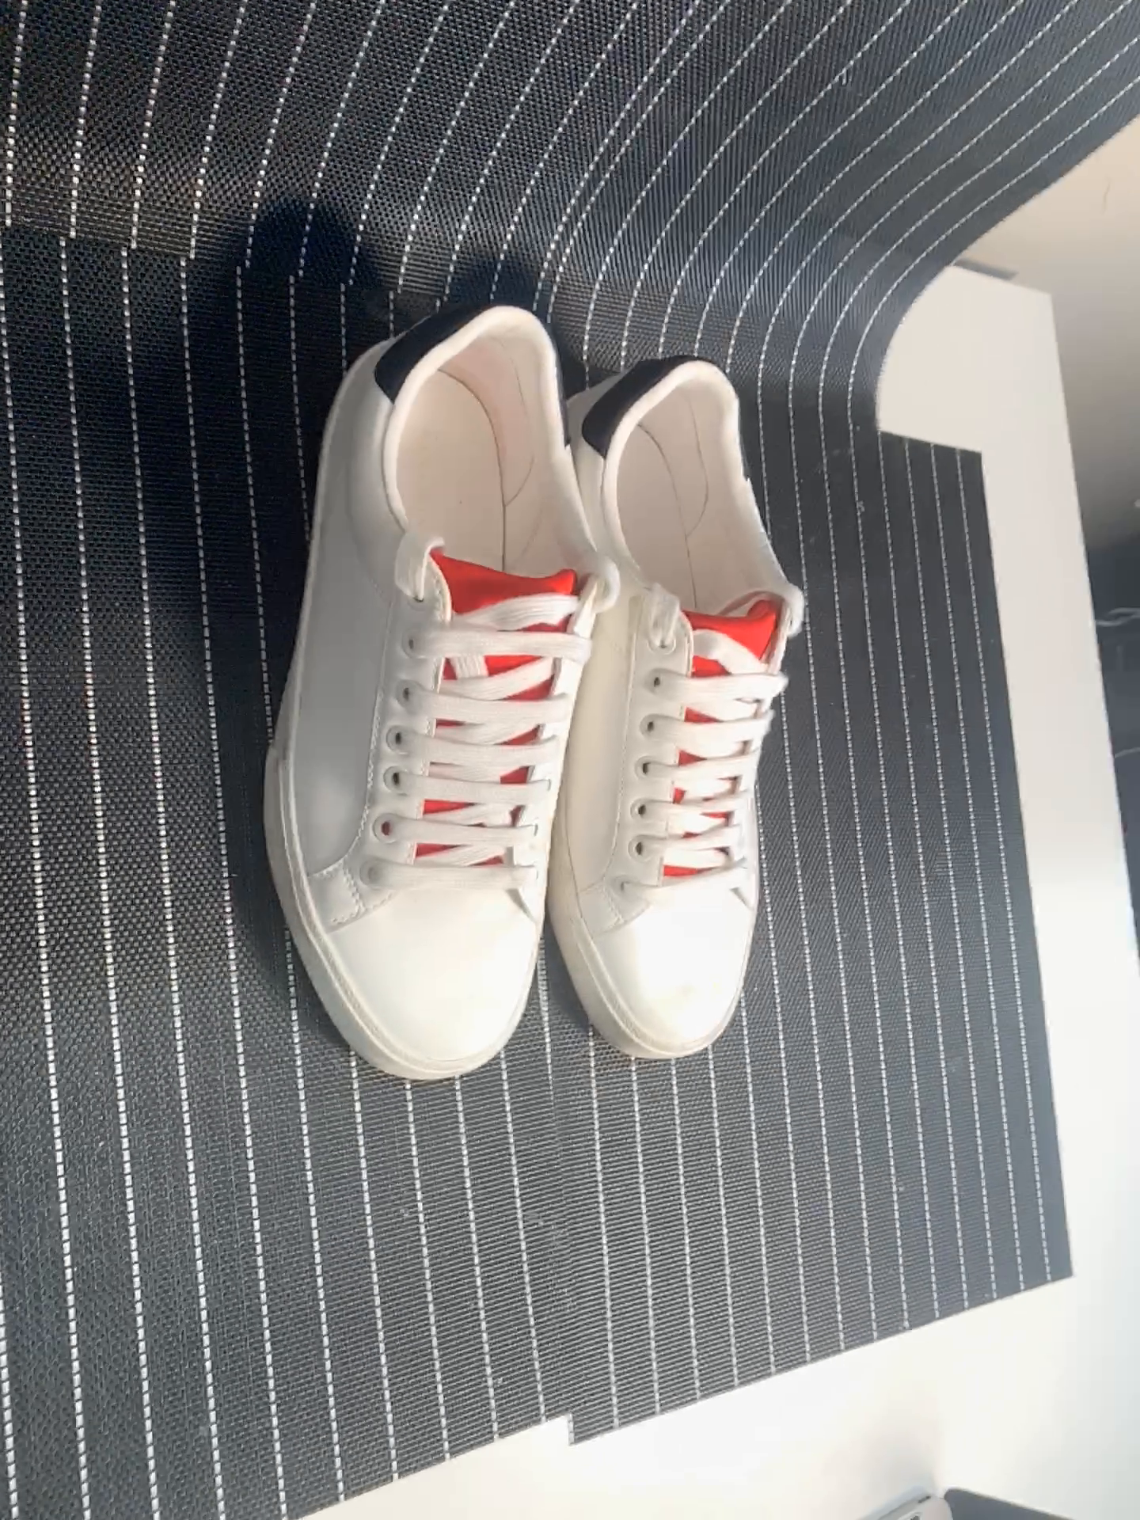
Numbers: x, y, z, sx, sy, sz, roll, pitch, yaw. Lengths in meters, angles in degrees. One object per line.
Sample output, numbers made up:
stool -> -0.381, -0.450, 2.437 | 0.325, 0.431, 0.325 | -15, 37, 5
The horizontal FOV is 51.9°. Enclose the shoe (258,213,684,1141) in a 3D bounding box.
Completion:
shoe -> -0.039, -0.024, 0.428 | 0.120, 0.090, 0.290 | 3, 81, -31

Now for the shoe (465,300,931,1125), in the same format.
shoe -> 0.049, -0.018, 0.476 | 0.120, 0.090, 0.290 | -5, 85, -32
